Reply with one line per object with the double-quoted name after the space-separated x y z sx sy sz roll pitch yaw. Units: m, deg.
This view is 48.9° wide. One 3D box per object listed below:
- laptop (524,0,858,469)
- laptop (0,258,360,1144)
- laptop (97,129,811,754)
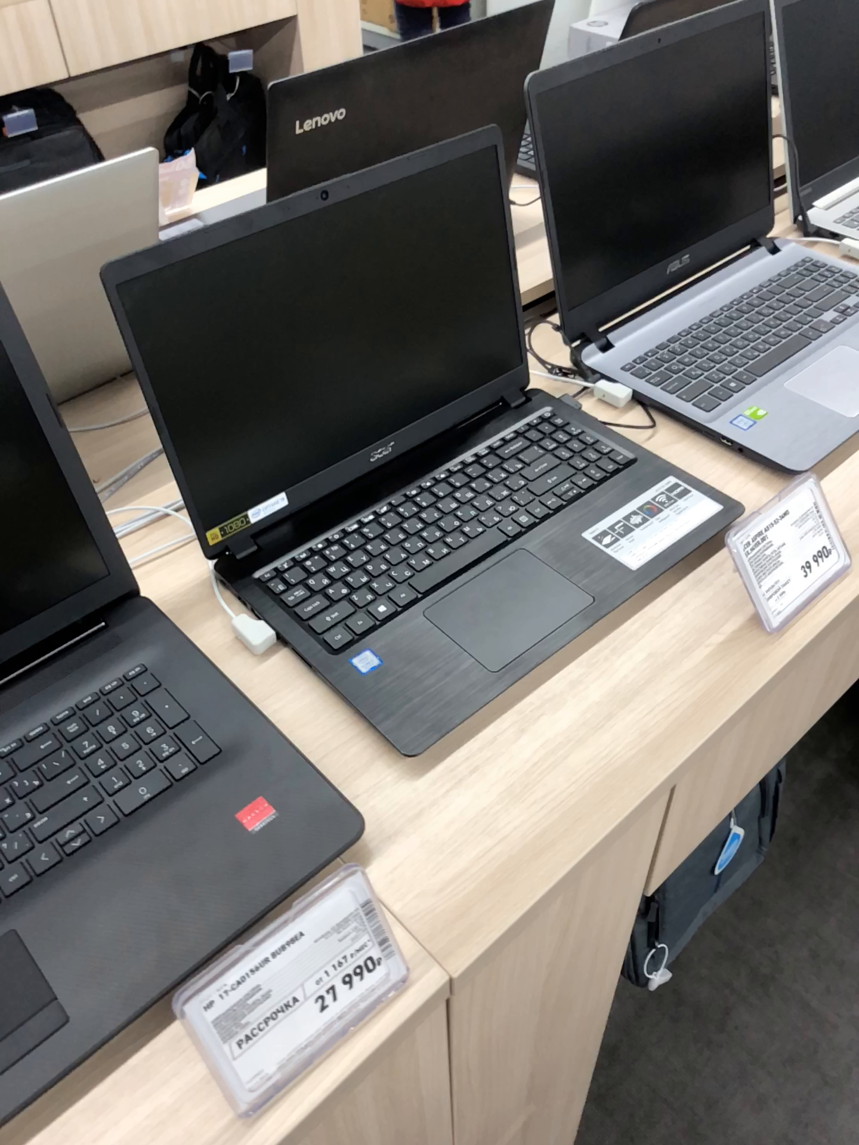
0.322 -0.335 0.864 0.327 0.218 0.325 -33 54 -26 "laptop"
-0.296 0.063 0.459 0.346 0.226 0.354 34 52 29 "laptop"
0.019 -0.121 0.676 0.347 0.219 0.292 -33 52 -28 "laptop"
